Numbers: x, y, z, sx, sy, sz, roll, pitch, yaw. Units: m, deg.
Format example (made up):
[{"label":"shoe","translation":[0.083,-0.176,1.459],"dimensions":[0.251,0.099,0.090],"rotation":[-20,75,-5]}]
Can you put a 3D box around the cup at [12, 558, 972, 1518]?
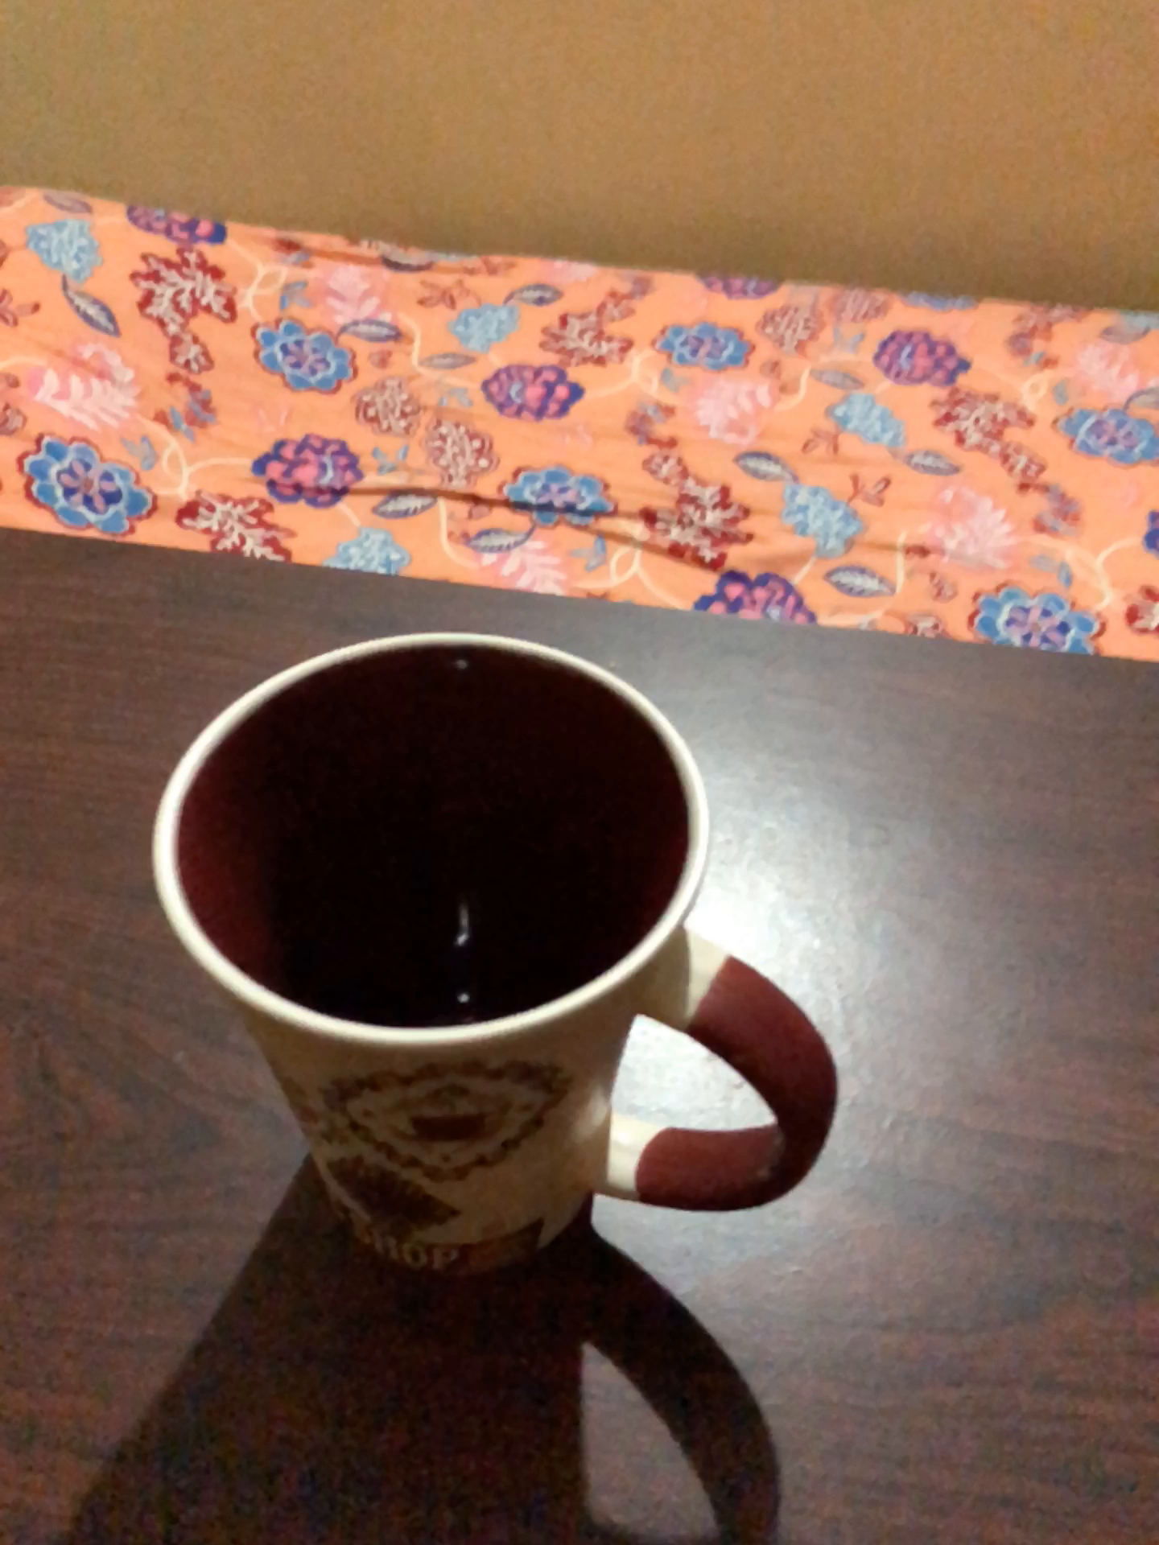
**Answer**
[{"label":"cup","translation":[-0.010,0.044,0.241],"dimensions":[0.120,0.099,0.101],"rotation":[21,48,18]}]
